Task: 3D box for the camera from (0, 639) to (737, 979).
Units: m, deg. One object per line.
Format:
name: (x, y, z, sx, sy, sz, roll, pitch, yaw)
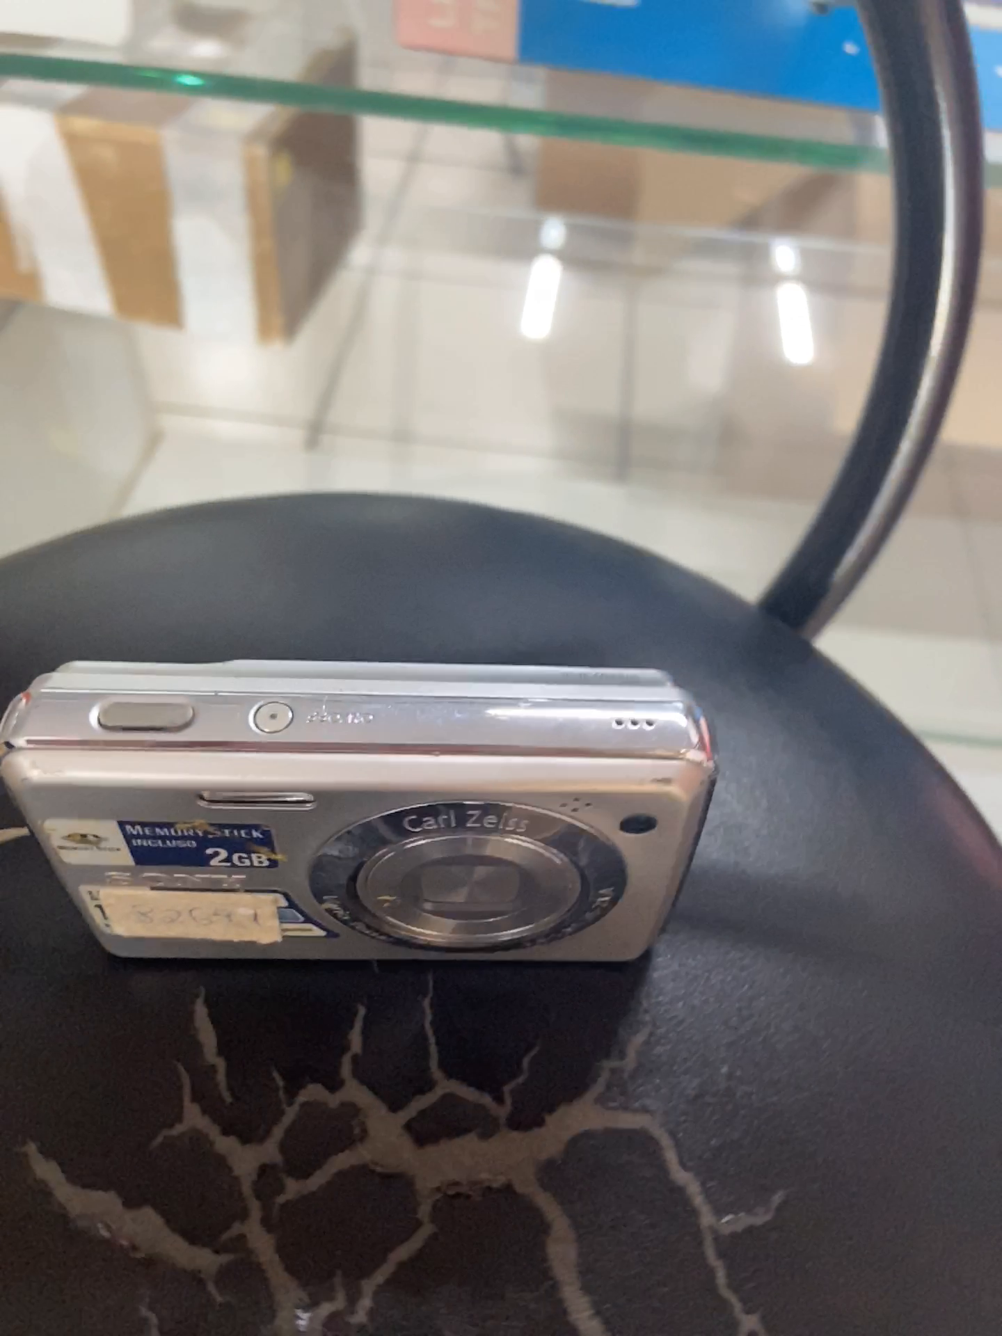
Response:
camera: (-0.018, 0.022, 0.154, 0.093, 0.044, 0.026, 2, 49, -2)
